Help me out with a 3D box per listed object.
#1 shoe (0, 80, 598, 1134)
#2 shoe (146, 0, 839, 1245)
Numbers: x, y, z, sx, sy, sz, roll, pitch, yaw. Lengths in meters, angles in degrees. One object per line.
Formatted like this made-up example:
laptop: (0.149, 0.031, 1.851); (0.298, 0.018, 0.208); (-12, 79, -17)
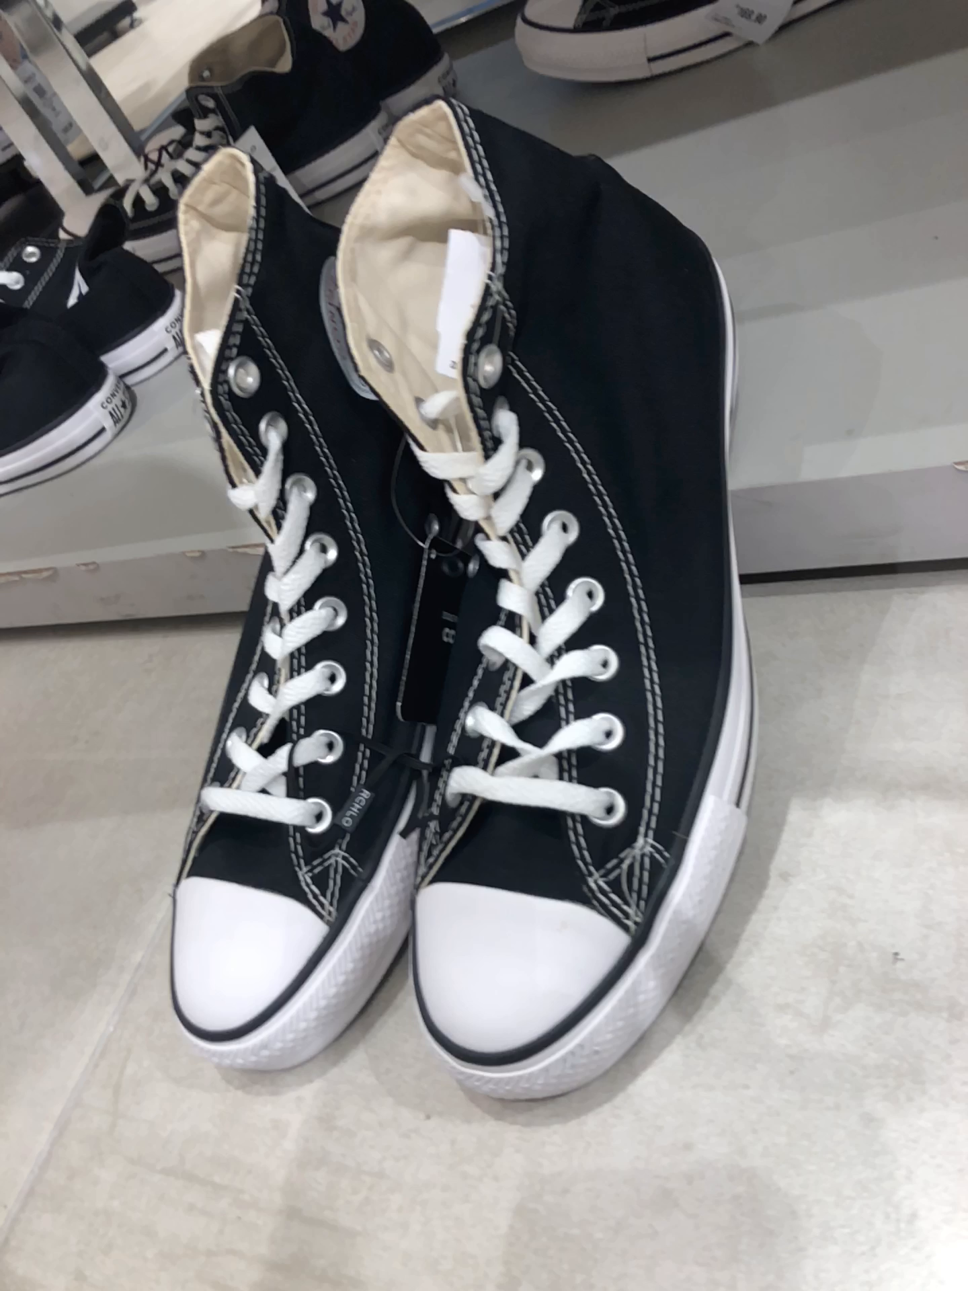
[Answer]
shoe: (-0.062, -0.010, 0.390); (0.120, 0.139, 0.311); (0, 74, 33)
shoe: (0.024, -0.029, 0.326); (0.120, 0.139, 0.331); (-2, 73, 32)
